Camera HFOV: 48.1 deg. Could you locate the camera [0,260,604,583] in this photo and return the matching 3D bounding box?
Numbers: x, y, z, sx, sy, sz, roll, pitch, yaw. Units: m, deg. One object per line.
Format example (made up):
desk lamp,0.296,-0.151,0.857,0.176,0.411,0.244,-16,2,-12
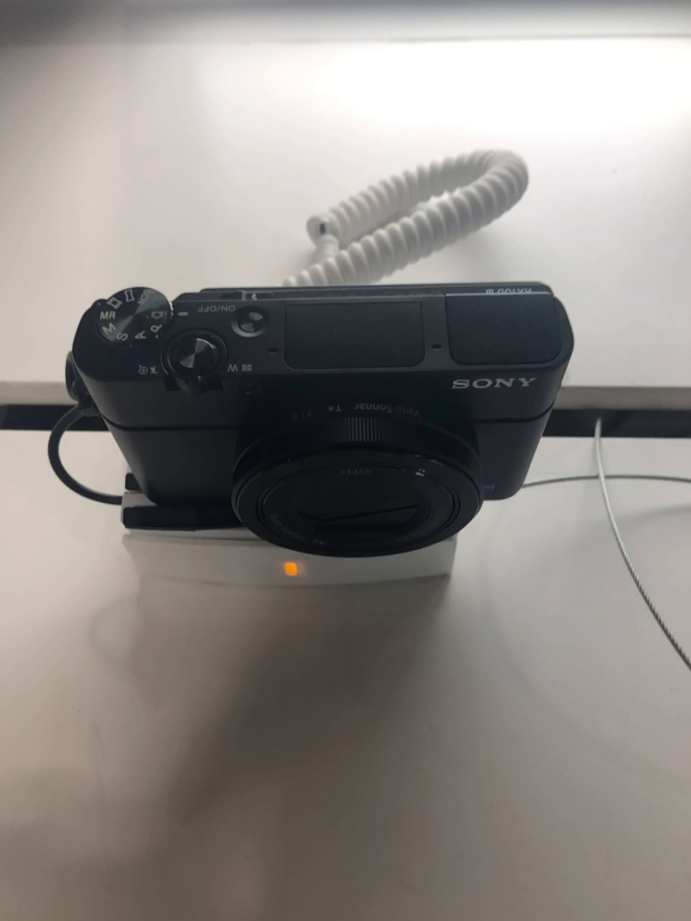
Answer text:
camera,-0.008,-0.006,0.160,0.102,0.051,0.041,-2,57,2
